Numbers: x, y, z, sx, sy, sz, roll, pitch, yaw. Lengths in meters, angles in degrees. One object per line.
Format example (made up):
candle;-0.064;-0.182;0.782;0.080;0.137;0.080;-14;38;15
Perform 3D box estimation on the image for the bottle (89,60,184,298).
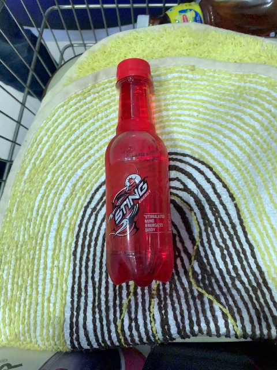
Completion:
bottle;-0.002;-0.006;0.227;0.060;0.040;0.170;-4;83;5
